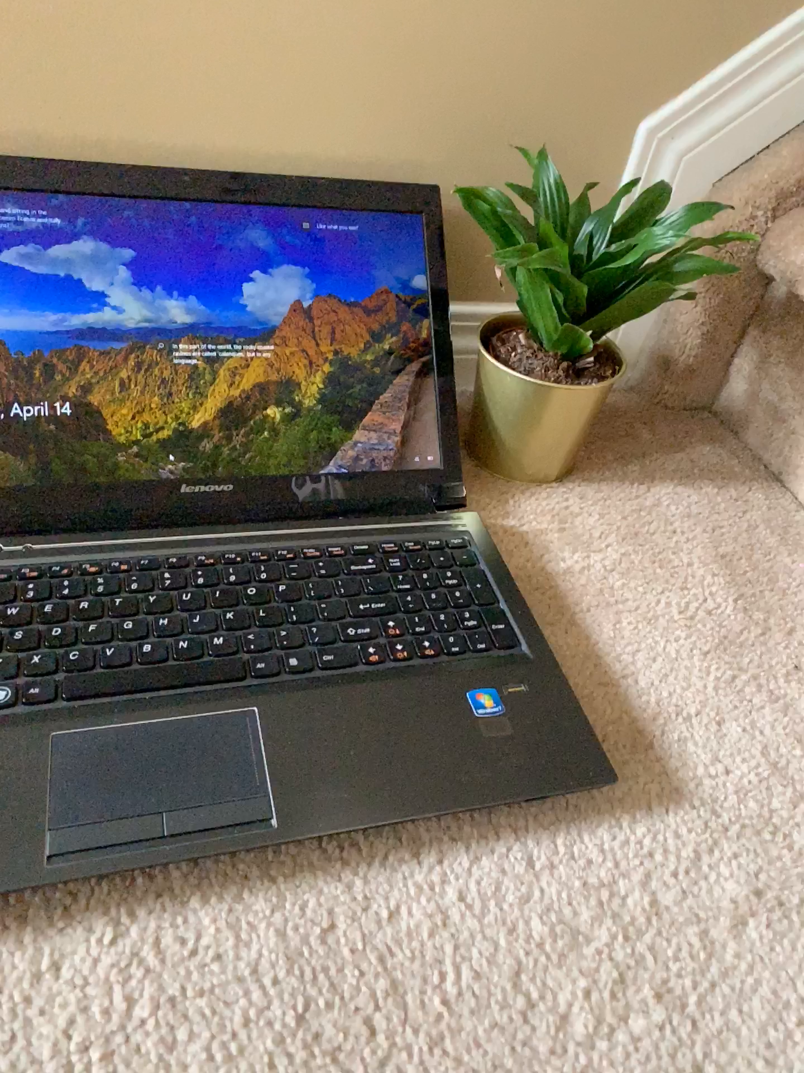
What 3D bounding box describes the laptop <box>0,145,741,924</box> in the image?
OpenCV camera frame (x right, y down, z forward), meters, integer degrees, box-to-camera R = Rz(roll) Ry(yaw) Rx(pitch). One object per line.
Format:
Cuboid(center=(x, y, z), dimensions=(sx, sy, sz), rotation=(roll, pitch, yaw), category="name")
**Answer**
Cuboid(center=(-0.110, -0.055, 0.474), dimensions=(0.372, 0.166, 0.411), rotation=(-4, 42, -19), category="laptop")
